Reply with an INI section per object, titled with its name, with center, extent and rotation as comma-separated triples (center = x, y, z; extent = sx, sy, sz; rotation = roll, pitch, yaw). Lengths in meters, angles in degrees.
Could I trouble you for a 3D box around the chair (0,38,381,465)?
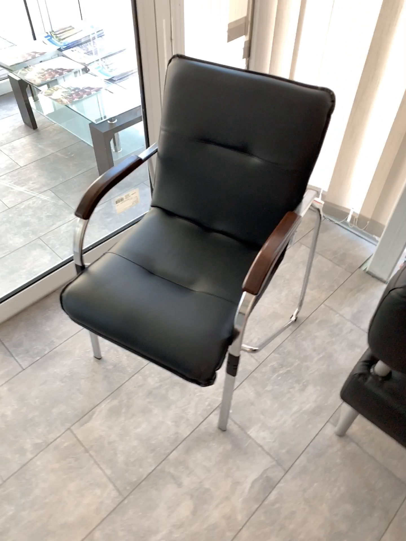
[chair]
center = -0.036, -0.062, 1.208
extent = 0.681, 0.827, 0.702
rotation = 22, 51, 19
